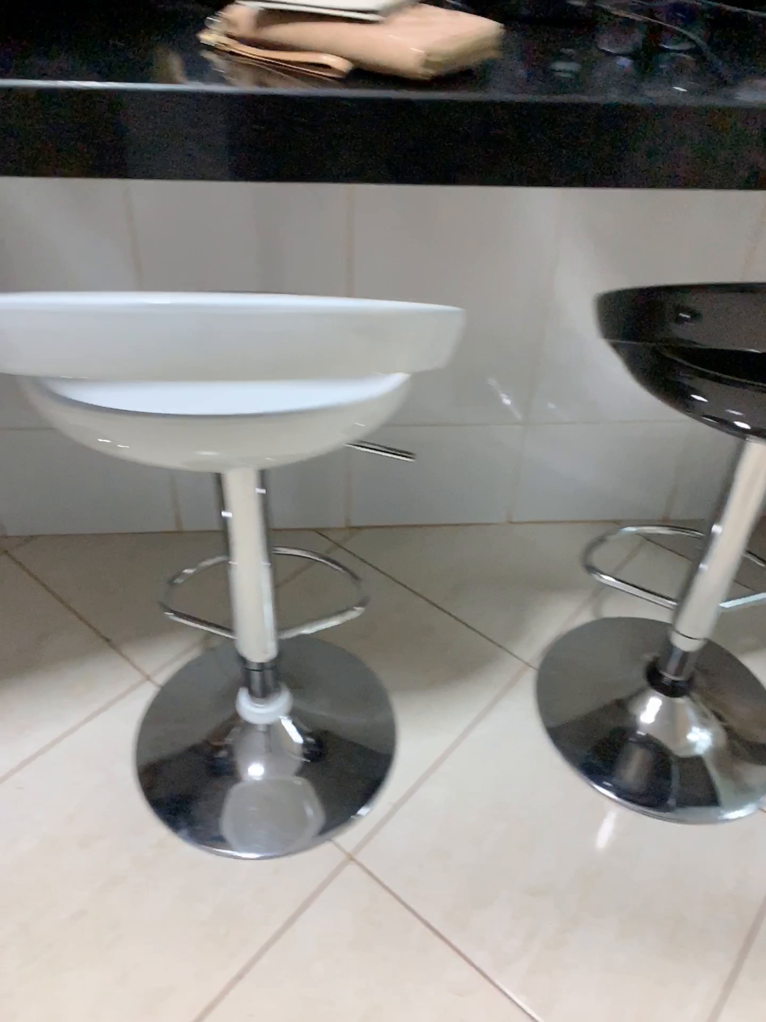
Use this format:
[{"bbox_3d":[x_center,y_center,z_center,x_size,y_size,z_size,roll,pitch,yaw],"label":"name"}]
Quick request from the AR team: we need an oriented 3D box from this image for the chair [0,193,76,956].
[{"bbox_3d":[-0.799,0.079,0.967,0.570,0.753,0.515,-2,38,-6],"label":"chair"}]

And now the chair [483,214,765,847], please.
[{"bbox_3d":[0.450,0.038,1.005,0.520,0.664,0.444,2,37,-2],"label":"chair"}]

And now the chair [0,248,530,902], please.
[{"bbox_3d":[-0.175,0.078,0.930,0.510,0.634,0.414,-2,38,-6],"label":"chair"}]
